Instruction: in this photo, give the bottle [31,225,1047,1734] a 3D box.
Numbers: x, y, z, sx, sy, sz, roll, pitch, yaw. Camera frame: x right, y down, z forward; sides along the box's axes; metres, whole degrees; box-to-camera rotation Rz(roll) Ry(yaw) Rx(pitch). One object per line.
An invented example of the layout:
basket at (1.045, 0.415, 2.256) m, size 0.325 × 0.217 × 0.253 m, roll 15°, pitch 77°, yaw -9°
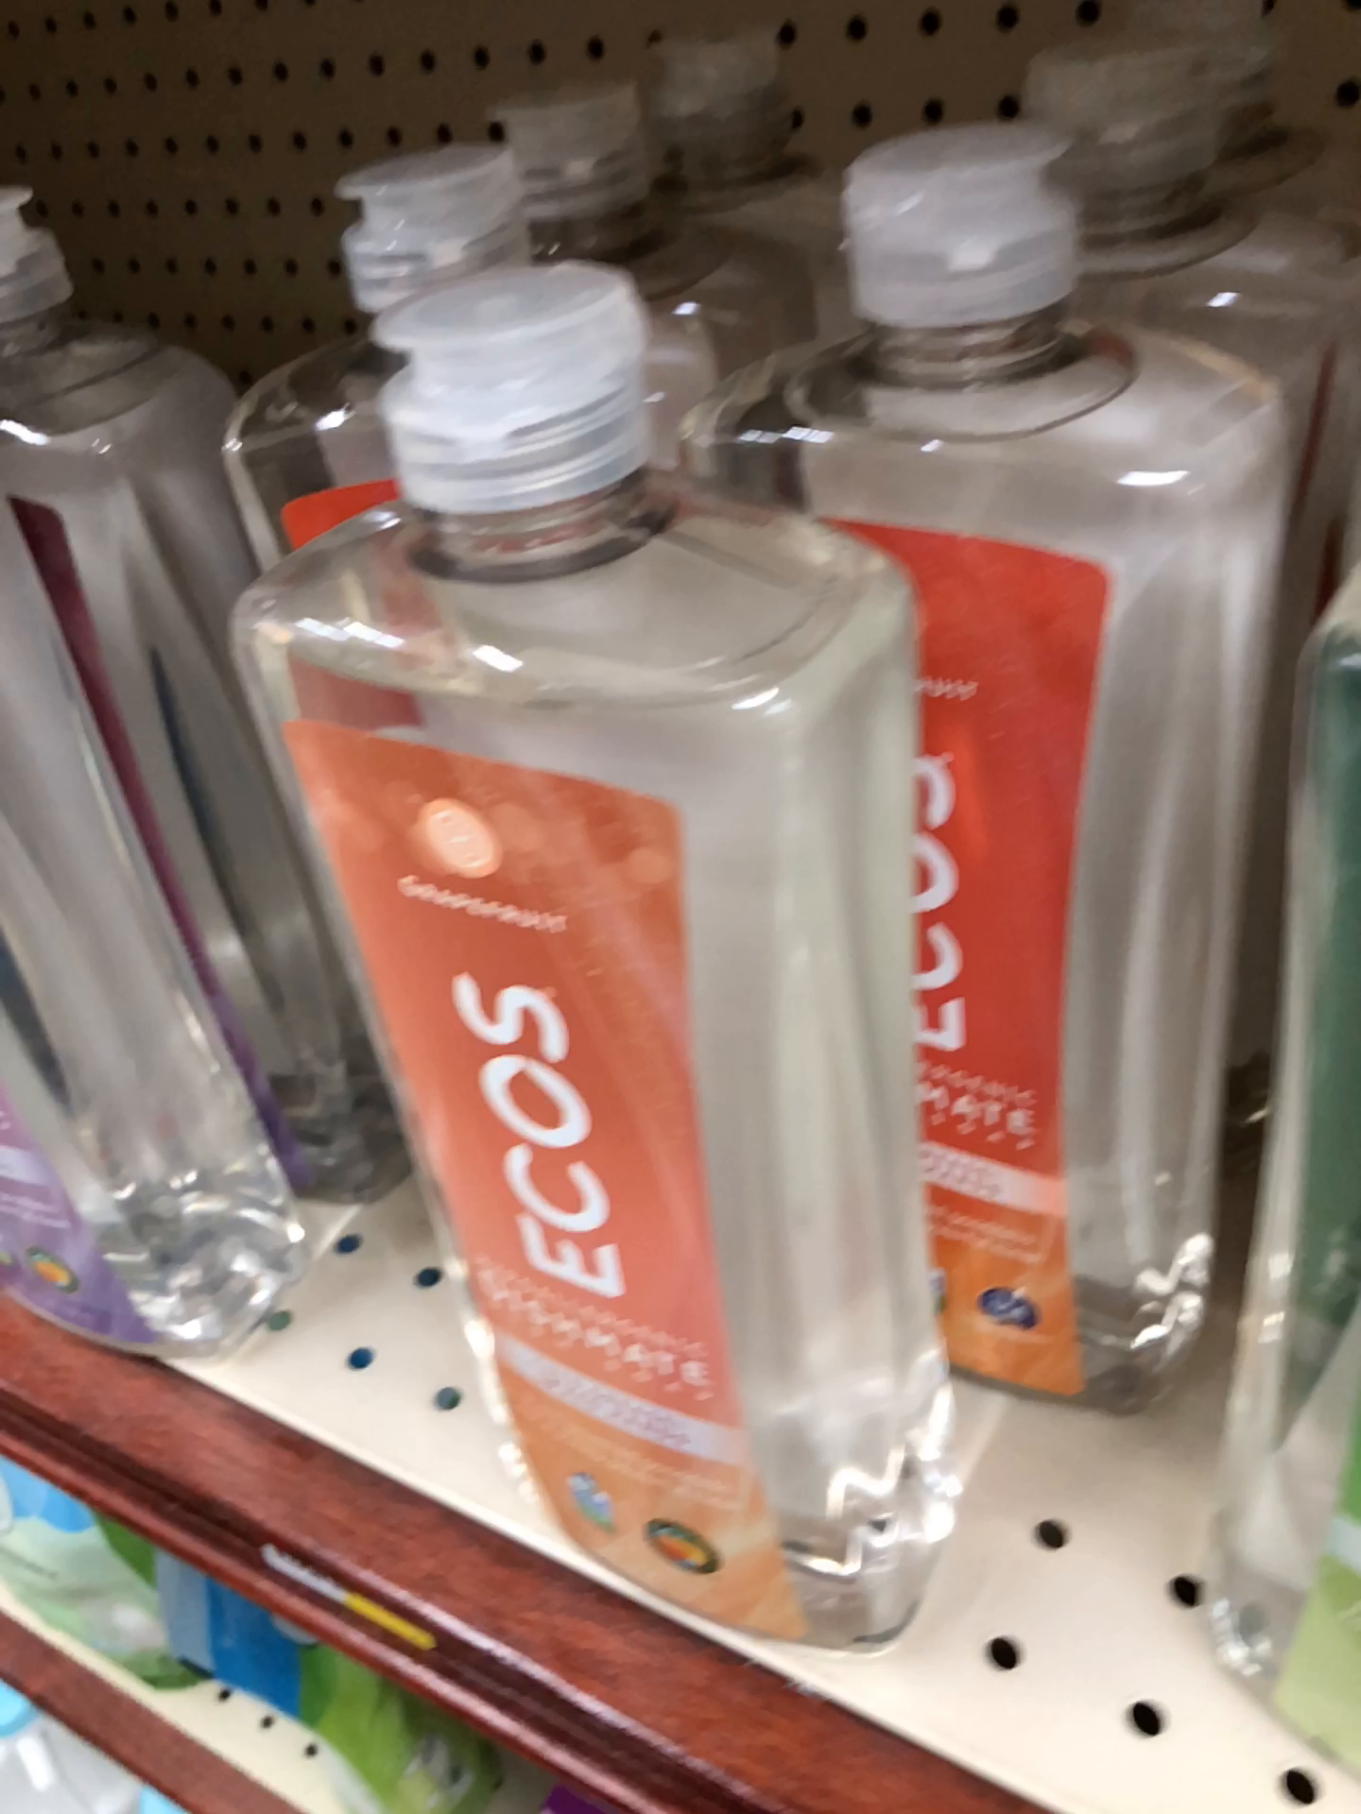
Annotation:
bottle at (-0.001, 0.025, 0.221) m, size 0.092 × 0.219 × 0.050 m, roll 13°, pitch 43°, yaw 28°
